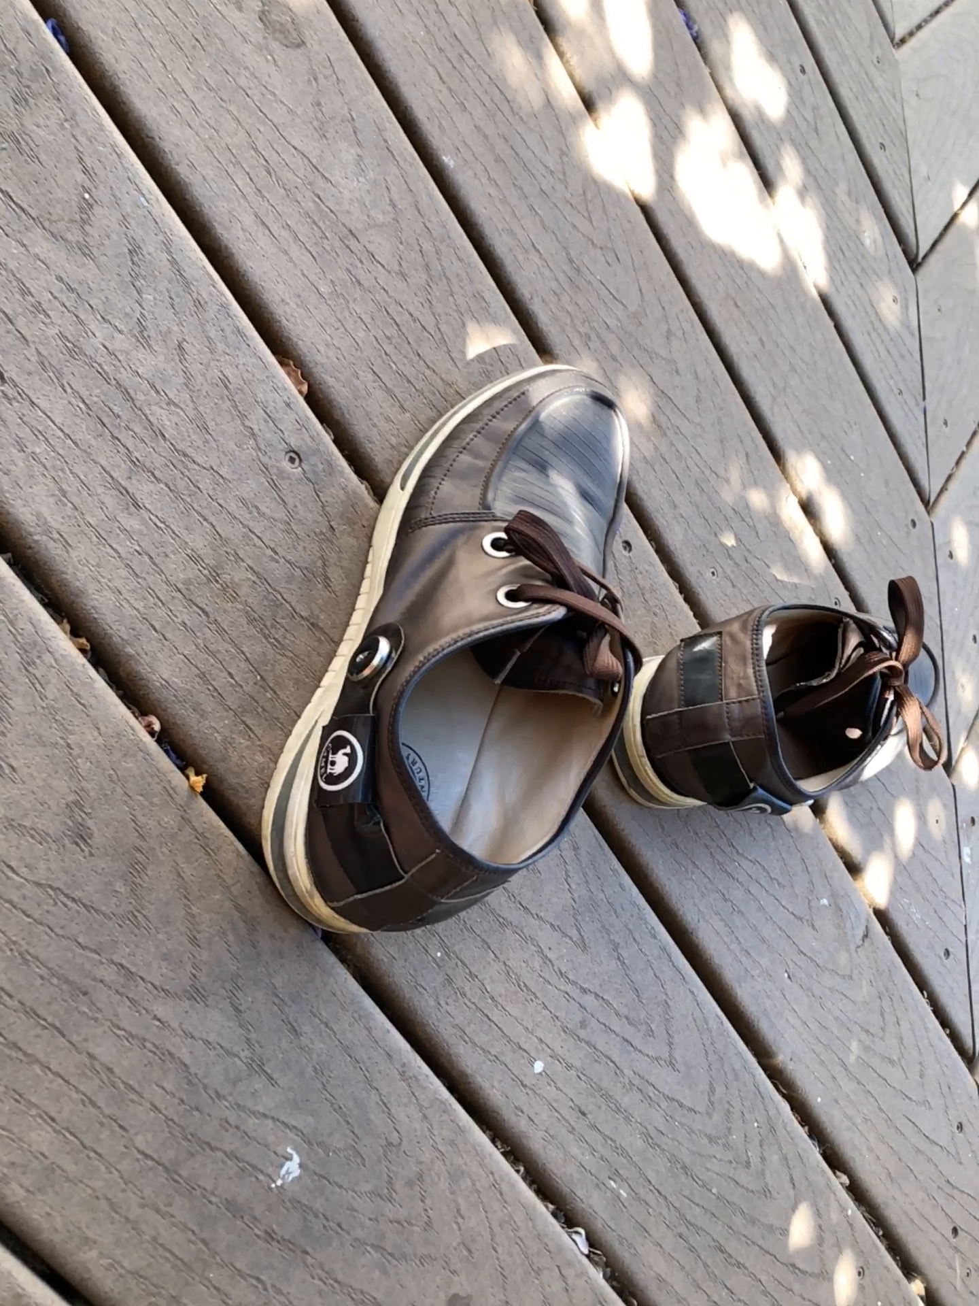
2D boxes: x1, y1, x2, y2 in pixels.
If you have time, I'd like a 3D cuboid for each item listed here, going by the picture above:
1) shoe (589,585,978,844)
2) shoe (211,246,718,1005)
[{"bbox_3d":[0.196,0.027,0.595,0.287,0.099,0.110,-3,83,-42],"label":"shoe"},{"bbox_3d":[0.005,-0.017,0.447,0.111,0.069,0.286,36,60,-31],"label":"shoe"}]
